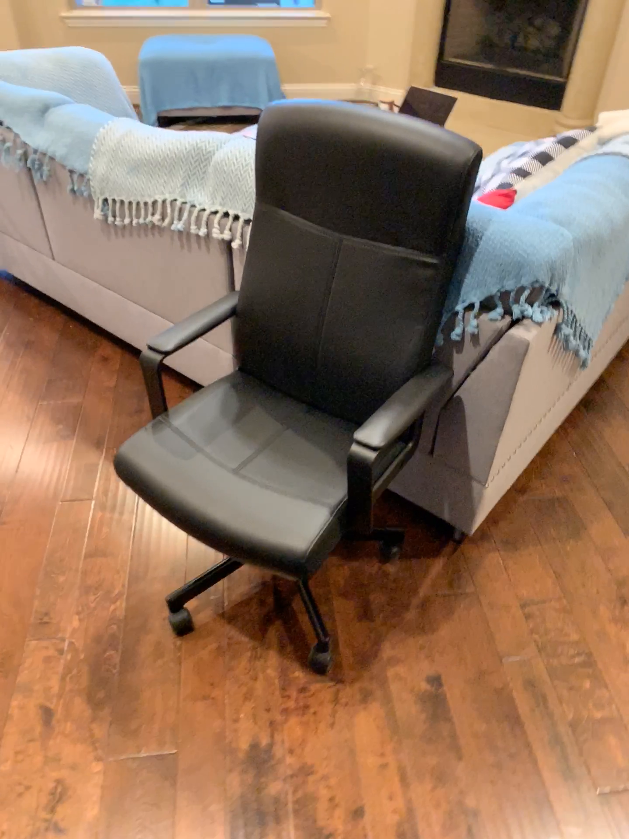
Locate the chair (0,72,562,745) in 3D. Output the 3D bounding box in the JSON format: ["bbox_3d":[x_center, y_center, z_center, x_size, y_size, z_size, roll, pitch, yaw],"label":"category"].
[{"bbox_3d":[-0.090,-0.052,1.398,0.736,1.037,0.761,26,47,26],"label":"chair"}]
